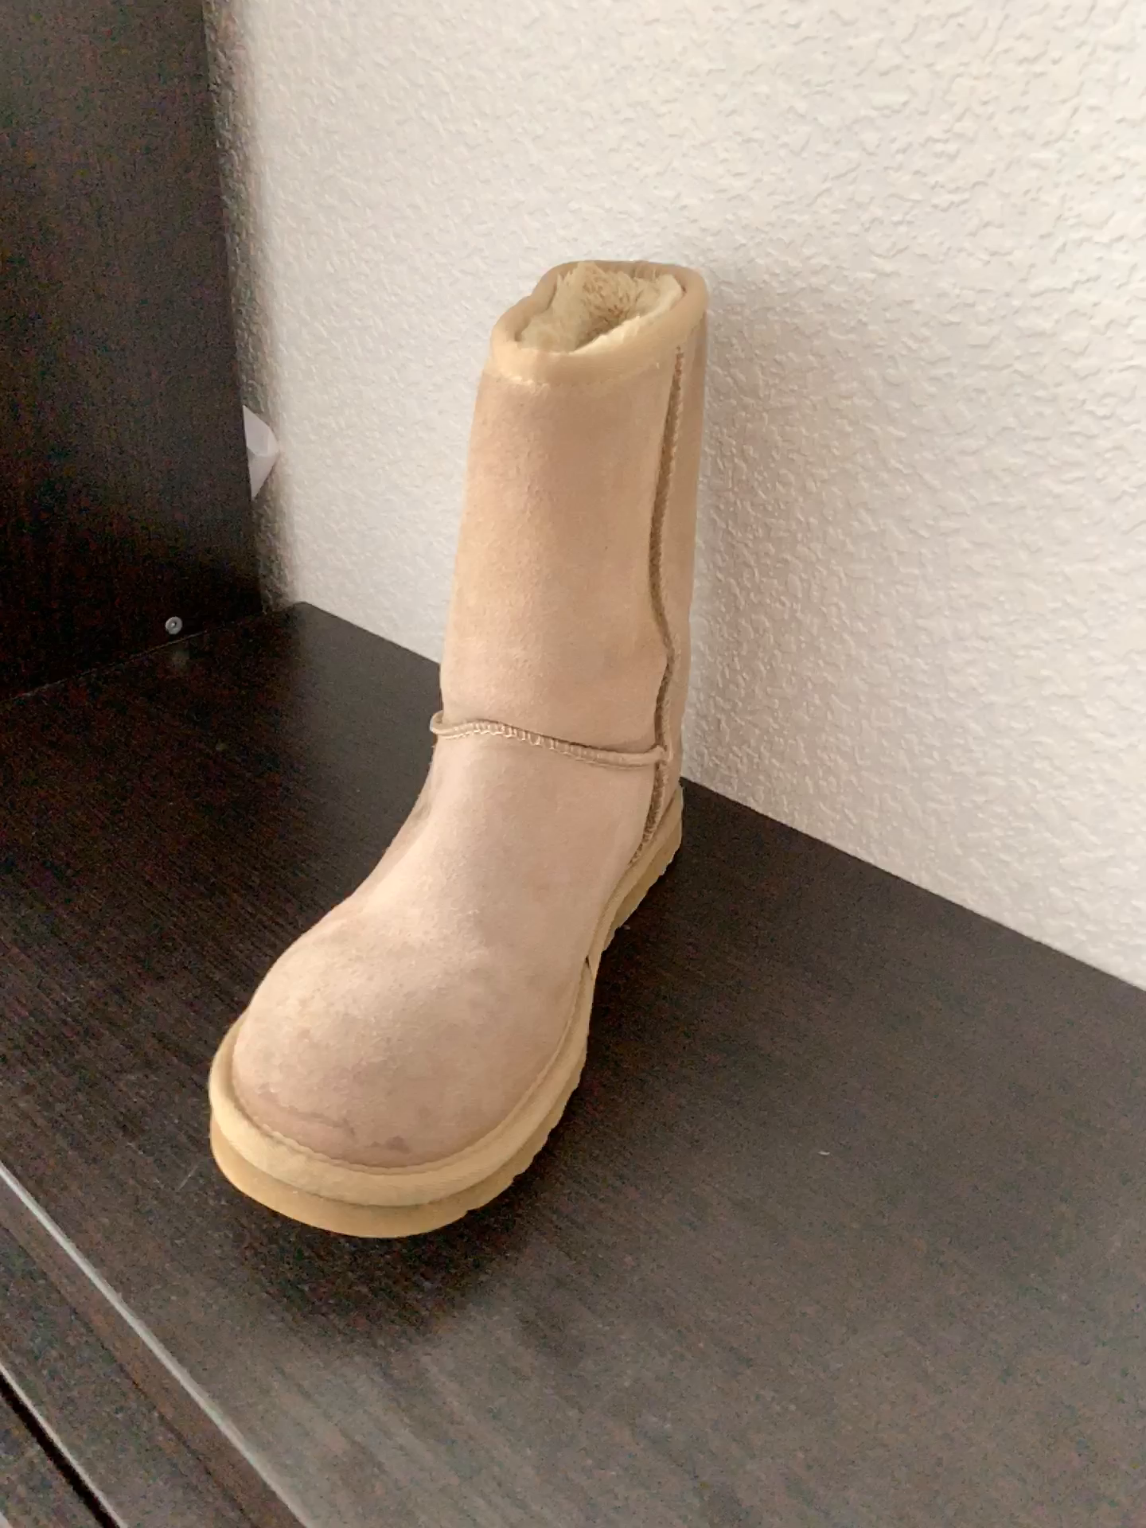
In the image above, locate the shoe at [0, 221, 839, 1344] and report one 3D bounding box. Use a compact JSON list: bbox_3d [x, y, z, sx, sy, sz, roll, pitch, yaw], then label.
[{"bbox_3d":[-0.021,-0.025,0.363,0.116,0.229,0.261,14,33,19],"label":"shoe"}]
